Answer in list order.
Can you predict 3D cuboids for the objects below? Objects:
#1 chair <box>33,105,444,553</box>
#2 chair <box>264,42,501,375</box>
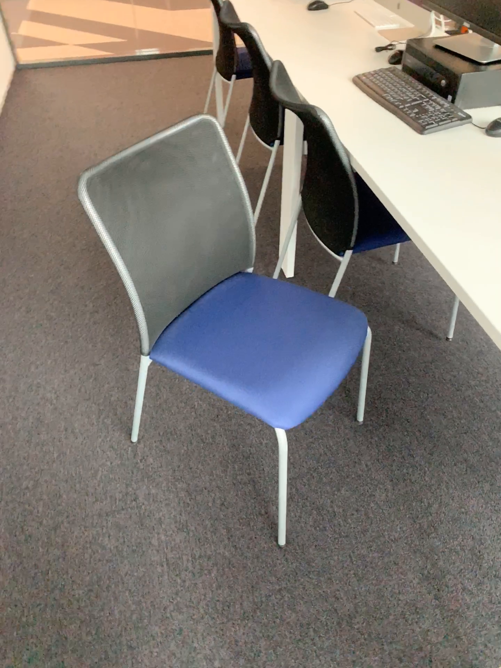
[{"bbox_3d":[-0.009,-0.021,1.337,0.631,0.826,0.572,27,50,25],"label":"chair"},{"bbox_3d":[0.437,-0.416,1.744,0.650,0.865,0.573,-9,44,-9],"label":"chair"}]
